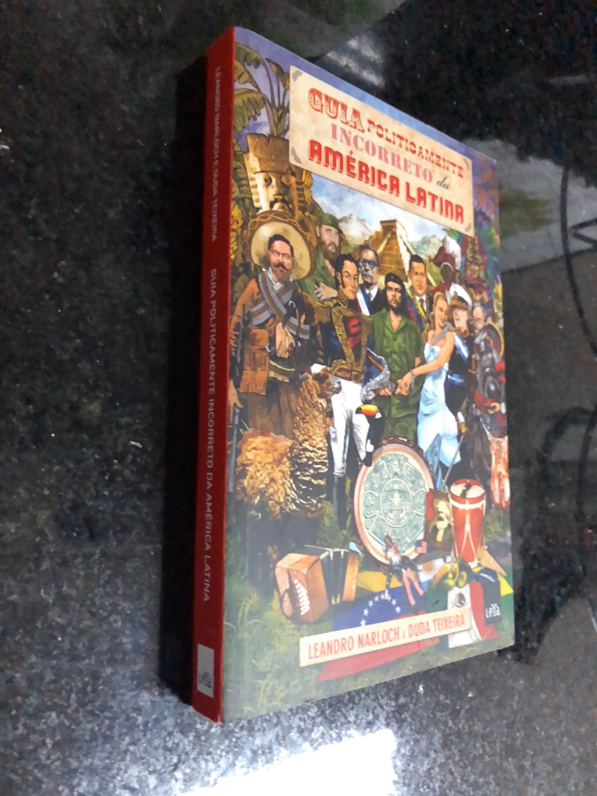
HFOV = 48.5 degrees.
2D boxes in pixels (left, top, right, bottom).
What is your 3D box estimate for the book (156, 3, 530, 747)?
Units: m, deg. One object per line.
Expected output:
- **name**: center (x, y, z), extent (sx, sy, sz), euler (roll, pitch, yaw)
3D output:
- **book**: center (0.025, -0.007, 0.257), extent (0.151, 0.040, 0.220), euler (6, 80, -40)
